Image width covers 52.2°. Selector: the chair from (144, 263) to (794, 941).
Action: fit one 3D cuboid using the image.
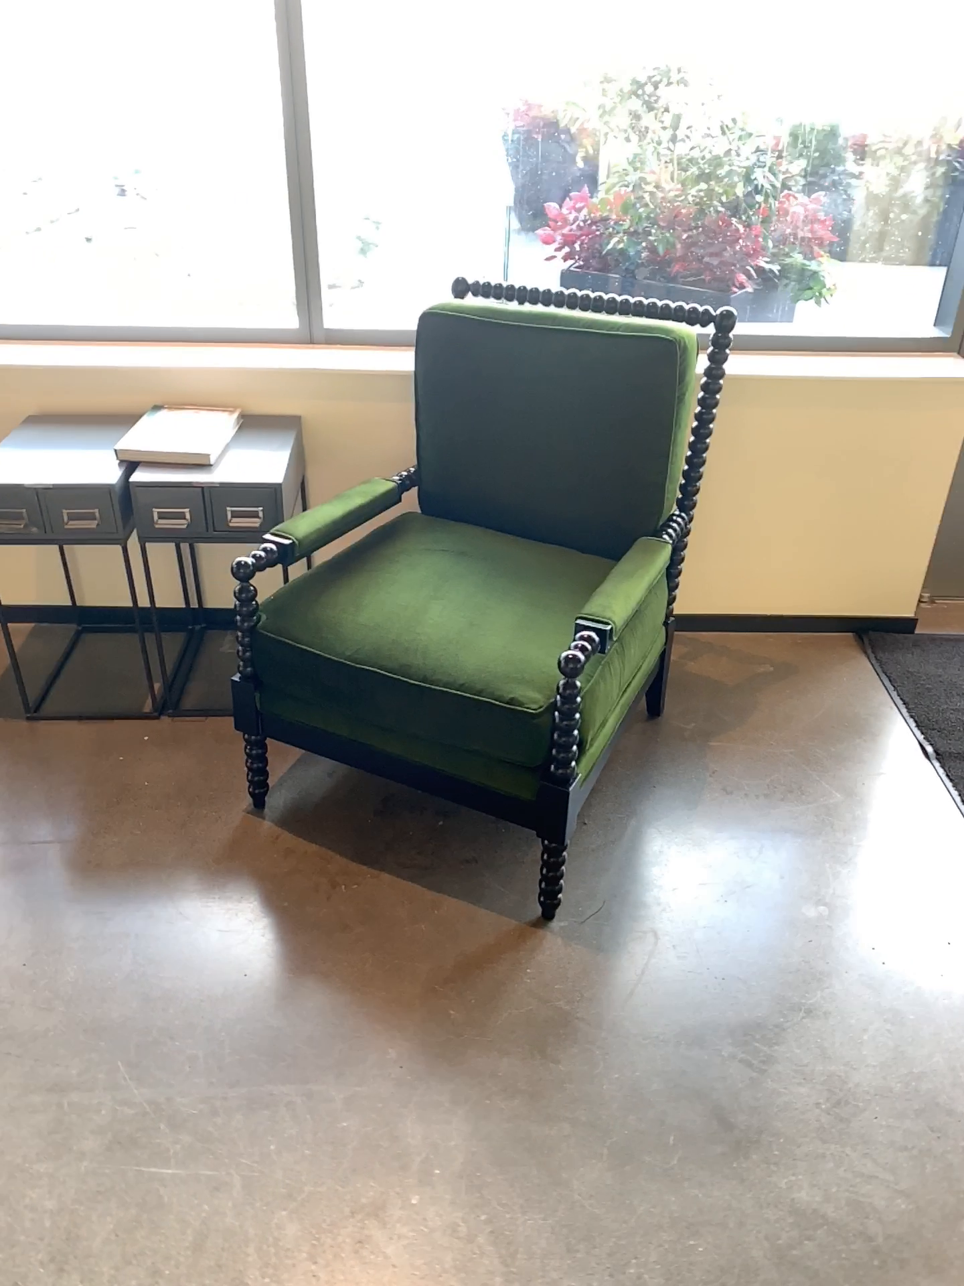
[{"bbox_3d":[0.031,-0.183,2.072,0.872,0.924,0.944,16,35,22],"label":"chair"}]
